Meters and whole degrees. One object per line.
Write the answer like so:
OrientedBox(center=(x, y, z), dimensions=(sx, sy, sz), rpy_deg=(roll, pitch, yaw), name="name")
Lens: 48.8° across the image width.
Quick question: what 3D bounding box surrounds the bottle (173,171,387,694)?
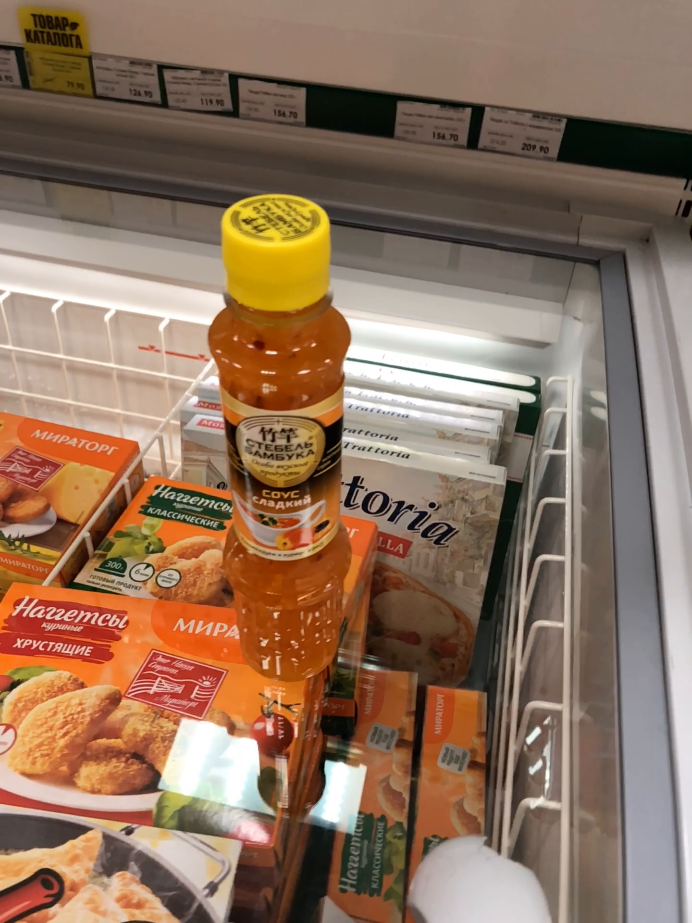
OrientedBox(center=(-0.022, 0.006, 0.273), dimensions=(0.051, 0.201, 0.049), rpy_deg=(1, 44, -1), name="bottle")
